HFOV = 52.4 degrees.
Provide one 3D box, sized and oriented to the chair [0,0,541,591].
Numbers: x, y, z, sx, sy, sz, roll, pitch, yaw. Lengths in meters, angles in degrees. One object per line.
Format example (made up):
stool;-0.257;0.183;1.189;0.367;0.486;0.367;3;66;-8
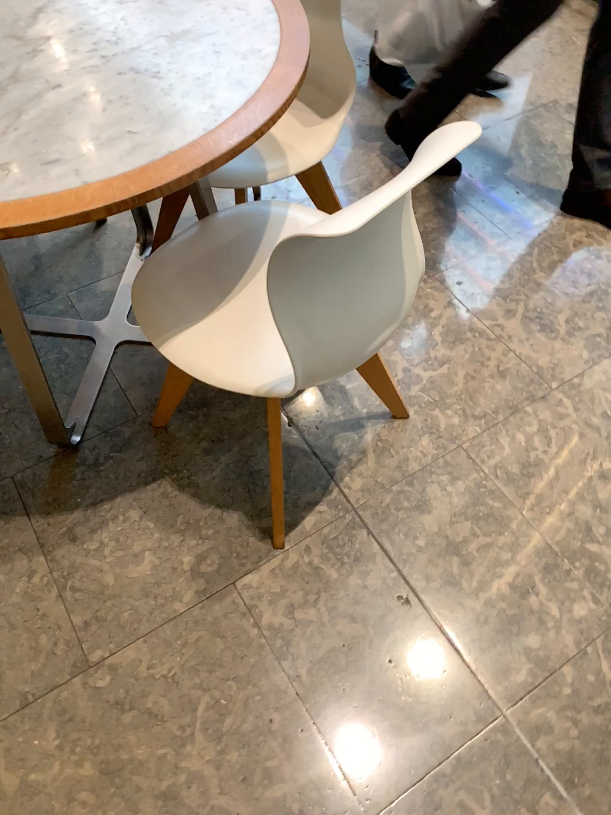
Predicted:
chair;-0.060;-0.155;1.205;0.542;0.913;0.502;37;63;22
